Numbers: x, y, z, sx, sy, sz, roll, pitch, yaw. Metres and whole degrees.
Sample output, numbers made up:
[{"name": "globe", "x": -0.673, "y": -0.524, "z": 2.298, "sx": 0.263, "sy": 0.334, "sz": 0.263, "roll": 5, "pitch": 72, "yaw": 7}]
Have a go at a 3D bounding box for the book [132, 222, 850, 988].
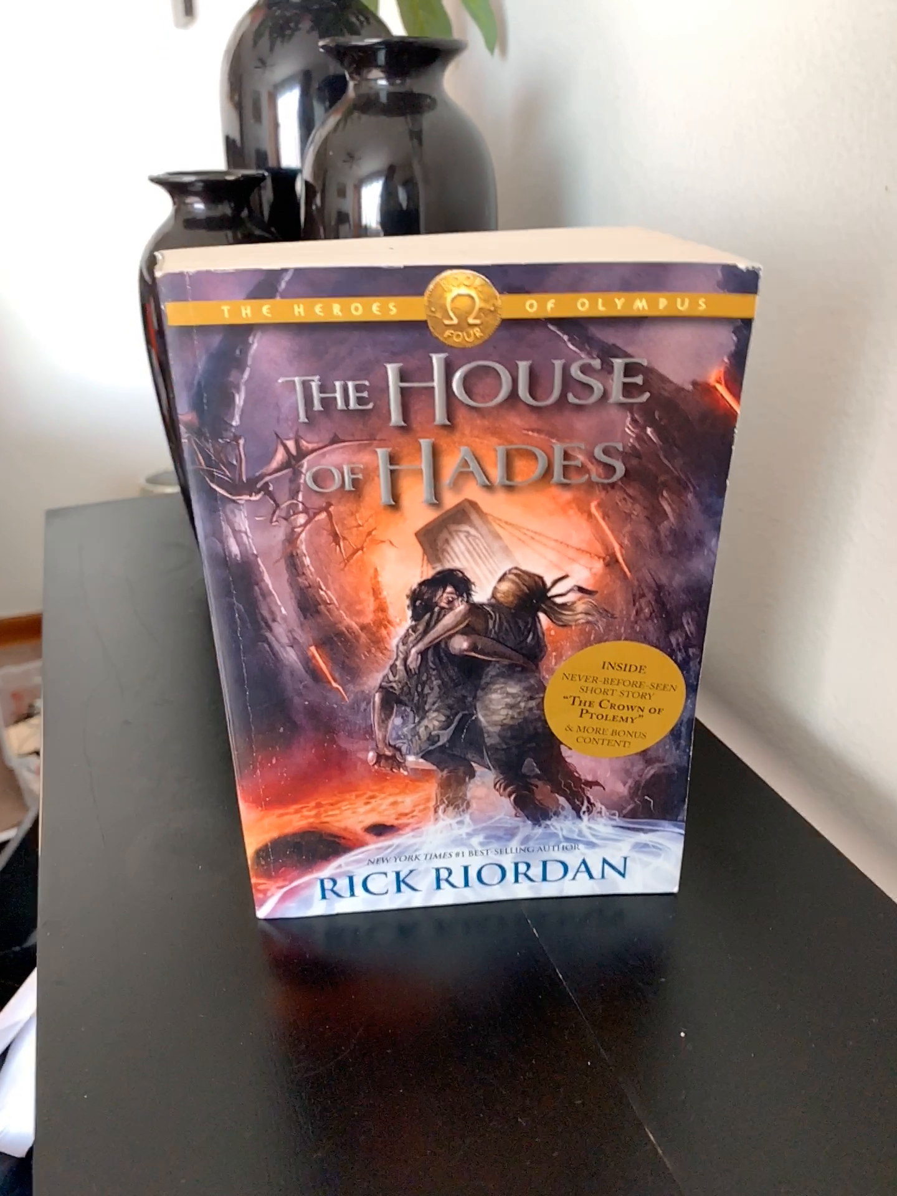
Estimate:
[{"name": "book", "x": 0.005, "y": -0.002, "z": 0.253, "sx": 0.144, "sy": 0.176, "sz": 0.078, "roll": -6, "pitch": 27, "yaw": -12}]
